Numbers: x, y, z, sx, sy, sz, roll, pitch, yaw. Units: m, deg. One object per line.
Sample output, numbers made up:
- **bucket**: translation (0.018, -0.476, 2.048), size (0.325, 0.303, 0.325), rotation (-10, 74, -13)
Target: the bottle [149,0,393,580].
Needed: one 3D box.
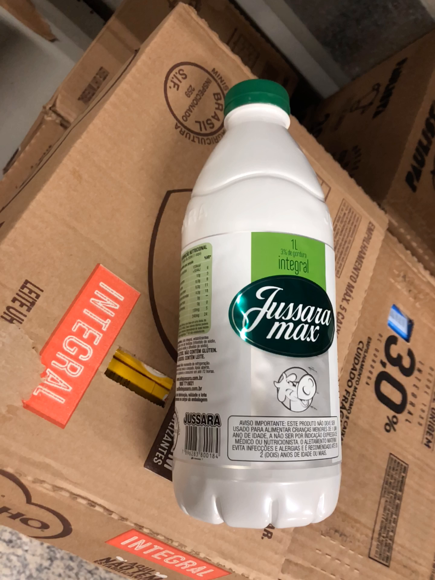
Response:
- **bottle**: translation (0.031, -0.001, 0.247), size (0.090, 0.060, 0.240), rotation (9, 81, -31)
